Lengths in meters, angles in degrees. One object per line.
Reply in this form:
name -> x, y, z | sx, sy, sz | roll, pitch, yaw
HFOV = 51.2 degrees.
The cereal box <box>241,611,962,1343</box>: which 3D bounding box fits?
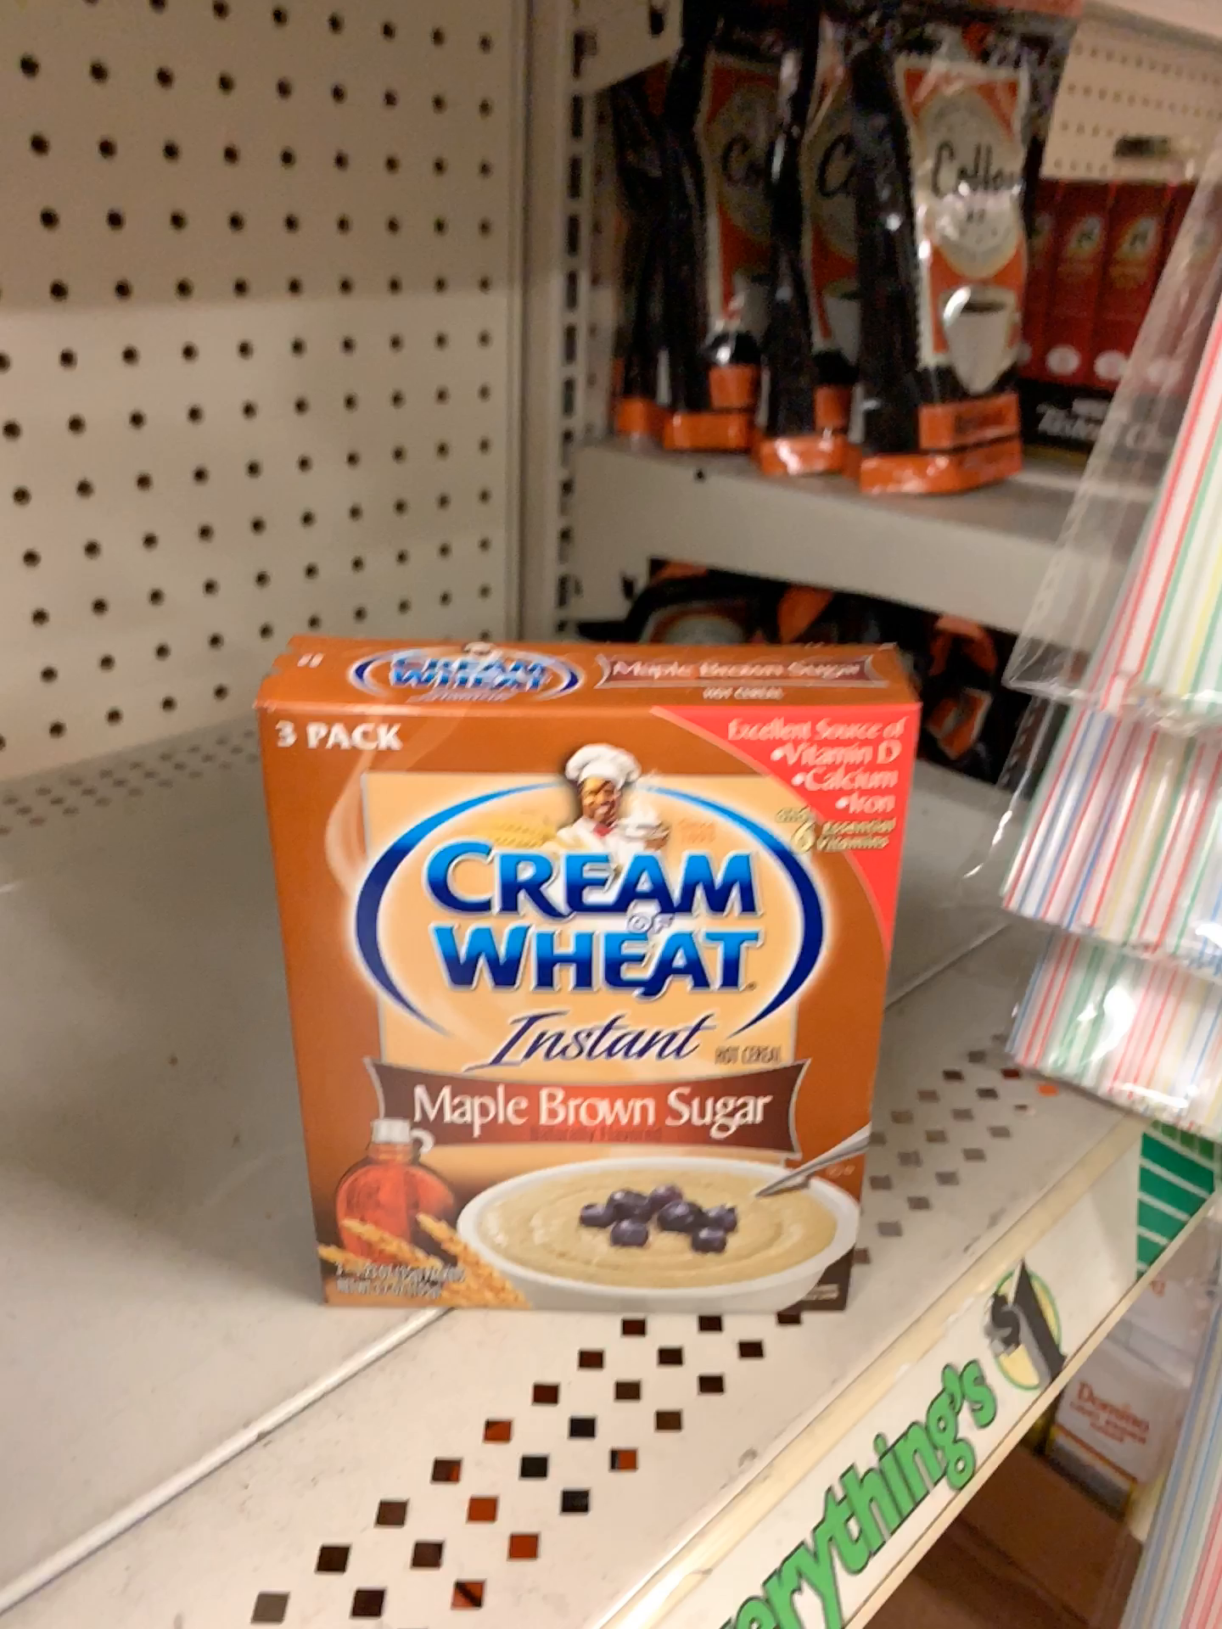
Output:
cereal box -> -0.004, 0.038, 0.263 | 0.120, 0.149, 0.040 | 1, 26, -2
